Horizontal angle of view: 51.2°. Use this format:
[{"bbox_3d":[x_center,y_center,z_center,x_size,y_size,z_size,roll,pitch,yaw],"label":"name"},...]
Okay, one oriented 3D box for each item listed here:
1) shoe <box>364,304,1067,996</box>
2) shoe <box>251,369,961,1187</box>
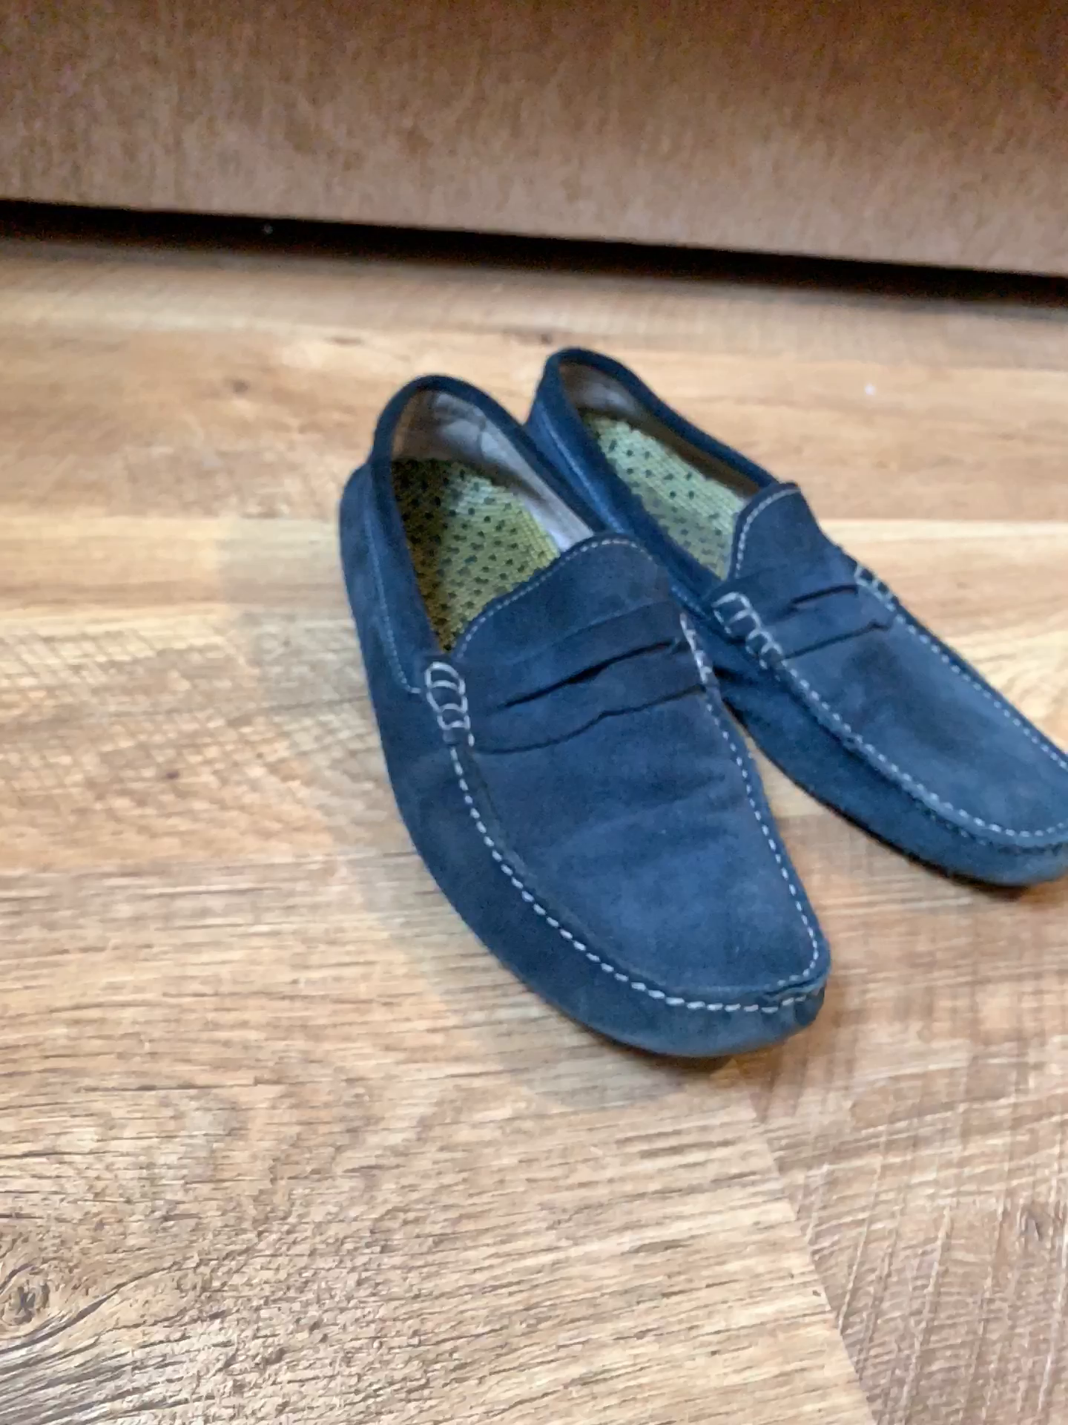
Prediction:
[{"bbox_3d":[0.065,-0.049,0.396,0.110,0.070,0.291,-22,50,-33],"label":"shoe"},{"bbox_3d":[-0.007,-0.012,0.344,0.100,0.070,0.271,-10,44,-22],"label":"shoe"}]
